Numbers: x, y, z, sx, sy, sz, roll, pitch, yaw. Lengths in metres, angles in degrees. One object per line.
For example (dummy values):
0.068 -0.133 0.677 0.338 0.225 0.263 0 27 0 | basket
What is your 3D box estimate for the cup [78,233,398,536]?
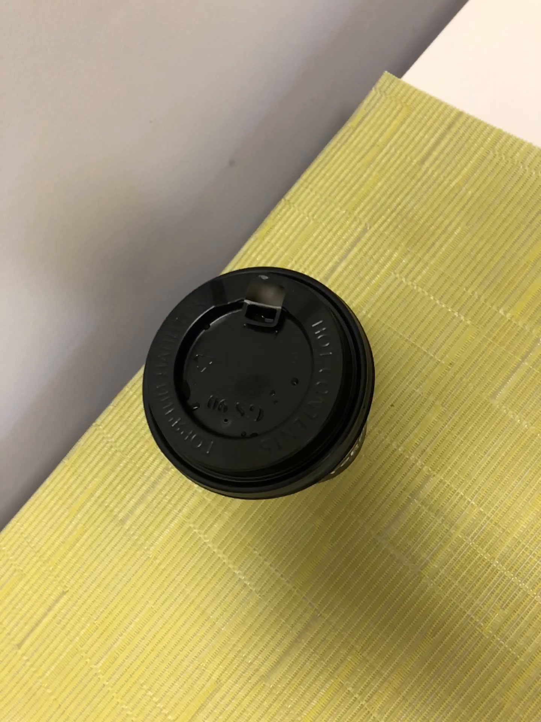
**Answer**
-0.003 0.019 0.289 0.090 0.120 0.092 -5 72 15 | cup
